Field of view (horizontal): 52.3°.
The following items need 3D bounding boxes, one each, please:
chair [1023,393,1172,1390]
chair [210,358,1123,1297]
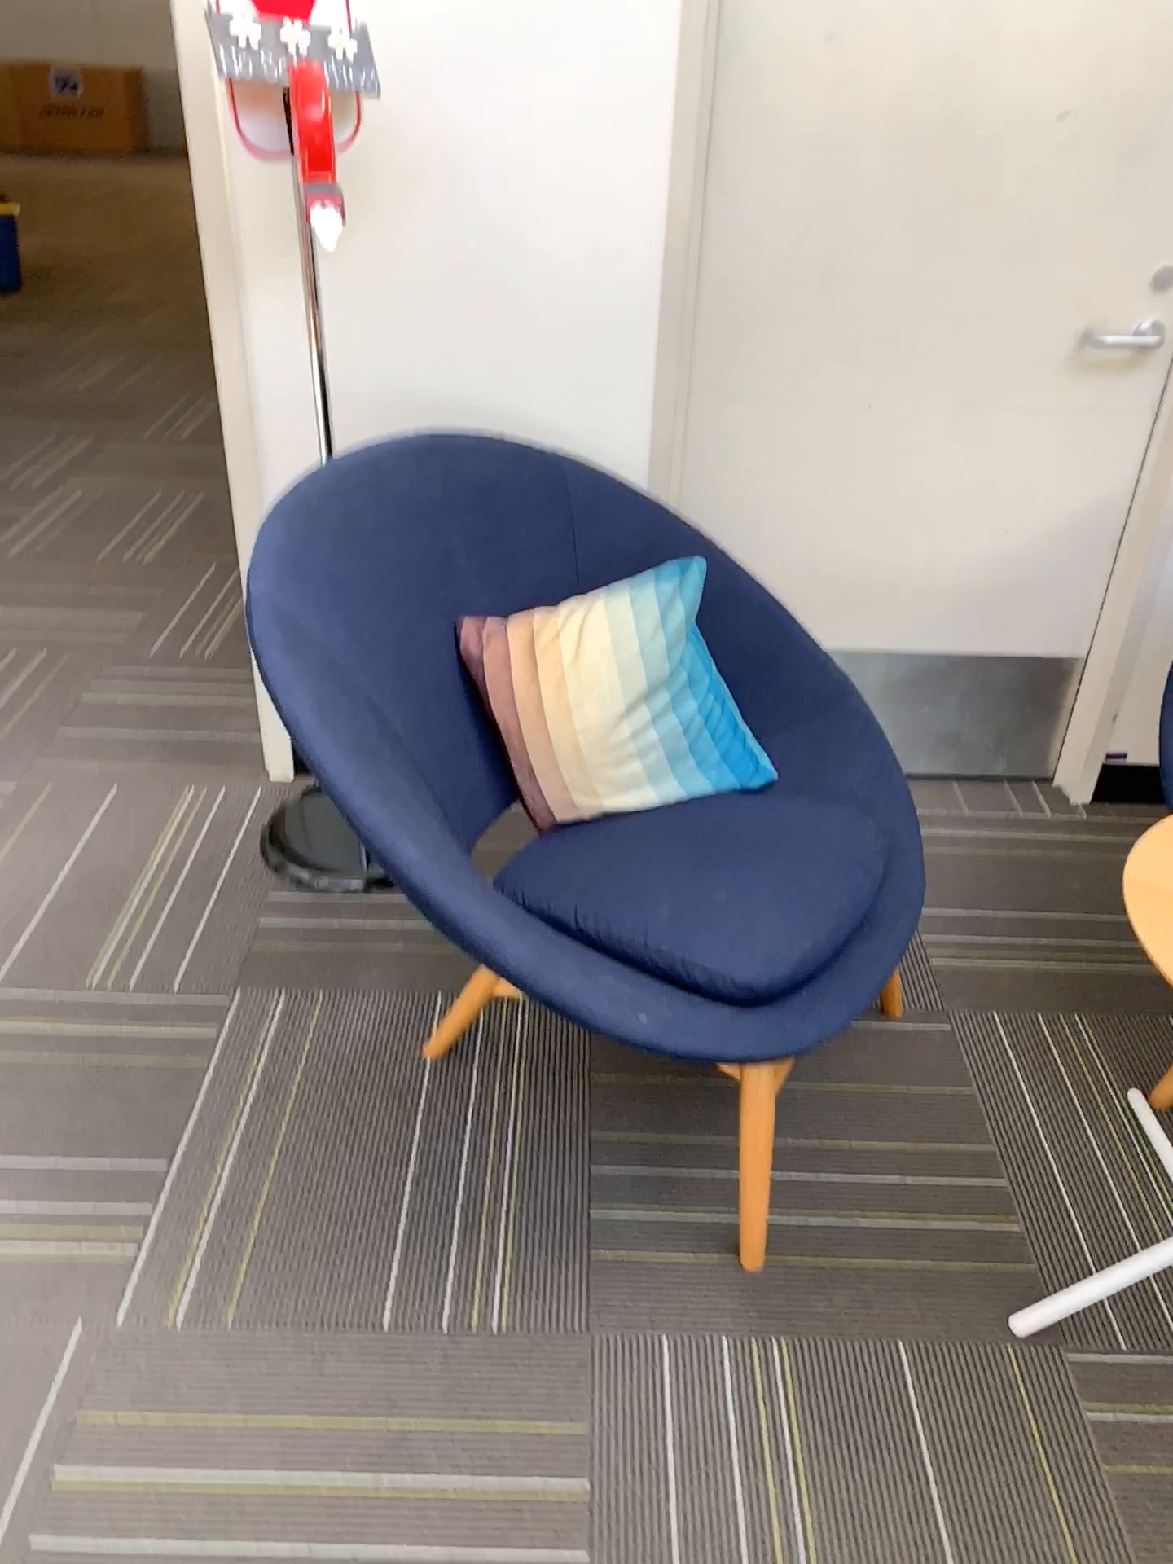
[{"bbox_3d":[1.388,0.048,1.856,0.833,0.944,0.983,26,39,33],"label":"chair"},{"bbox_3d":[0.104,-0.036,1.716,0.843,0.835,0.792,24,38,30],"label":"chair"}]
